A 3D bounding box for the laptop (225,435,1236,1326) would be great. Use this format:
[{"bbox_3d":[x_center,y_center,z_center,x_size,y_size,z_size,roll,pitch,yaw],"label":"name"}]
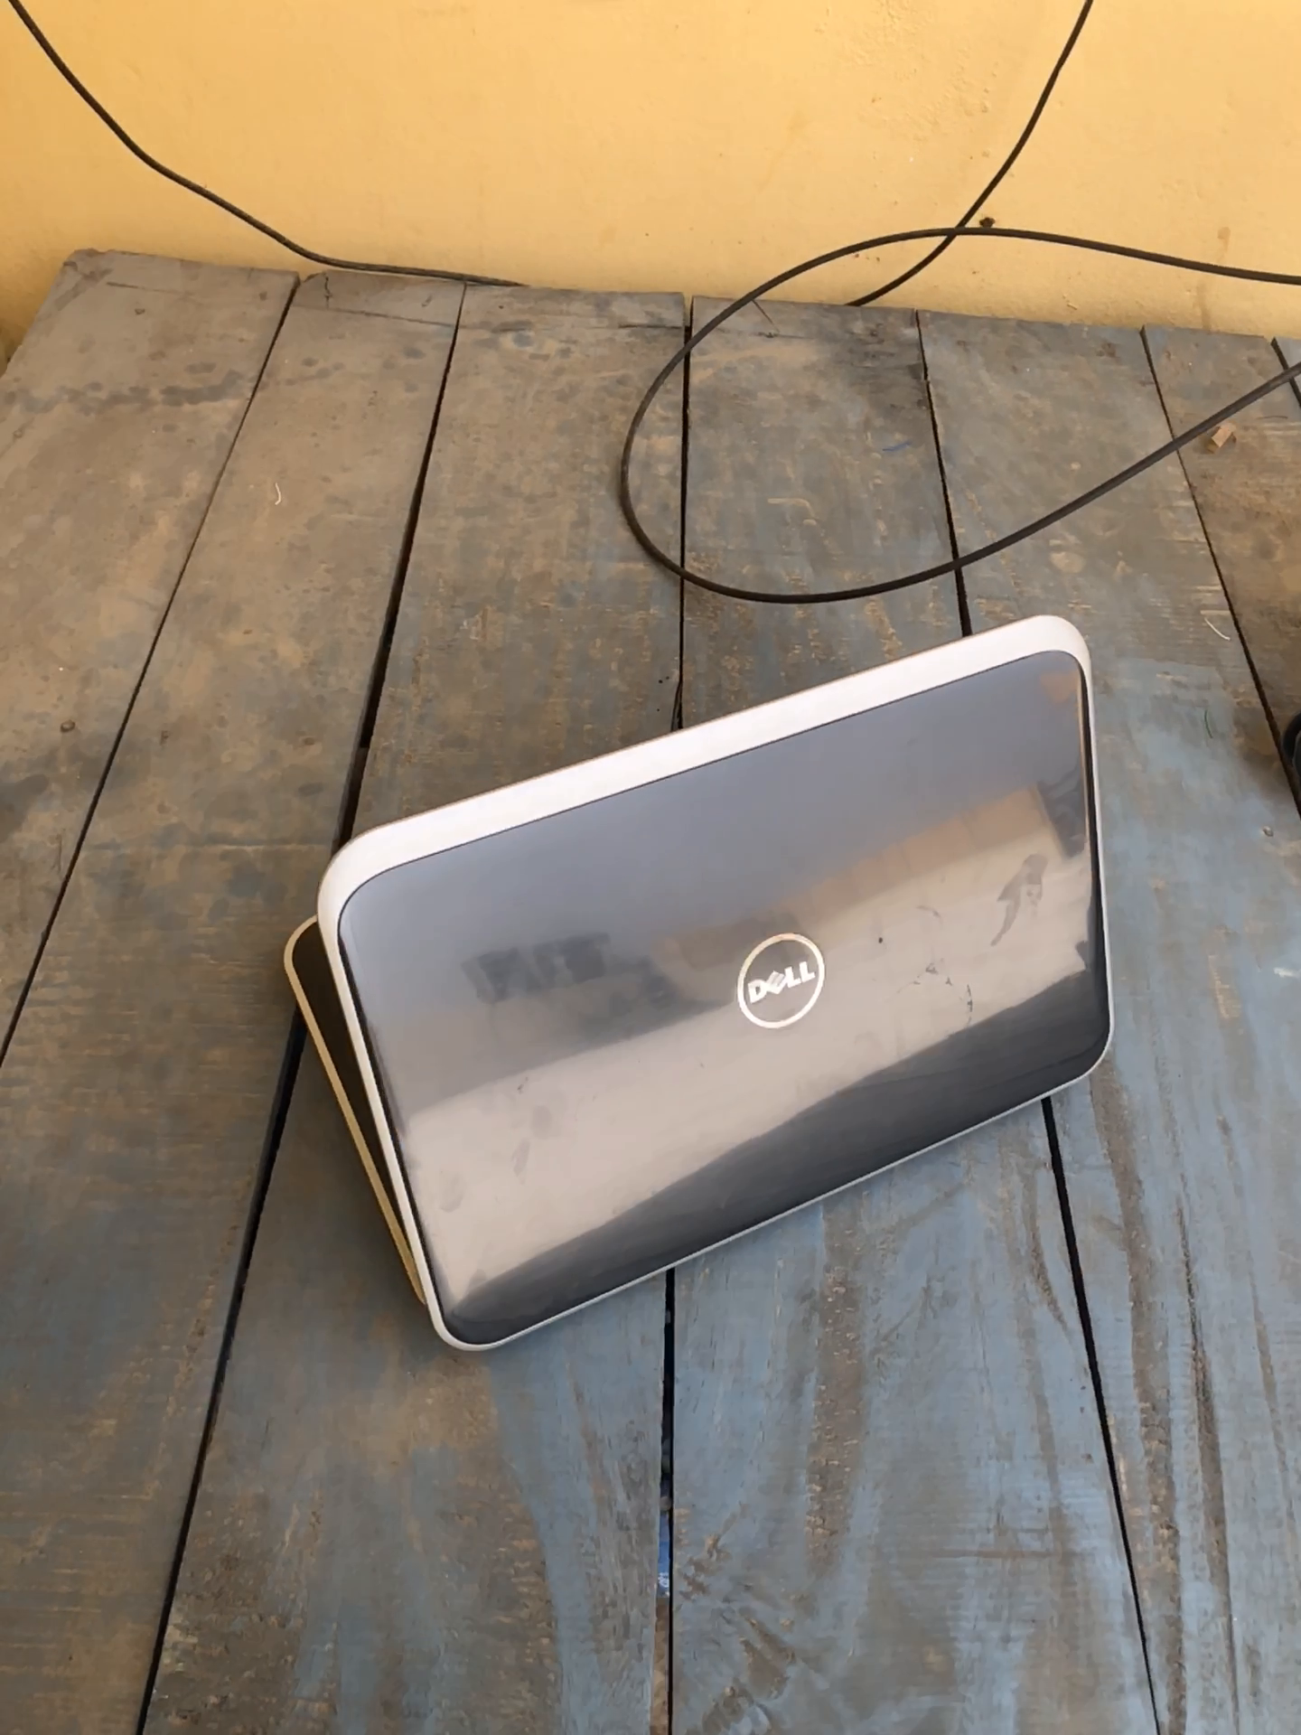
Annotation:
[{"bbox_3d":[0.028,-0.005,0.649,0.347,0.206,0.216,-19,55,-18],"label":"laptop"}]
